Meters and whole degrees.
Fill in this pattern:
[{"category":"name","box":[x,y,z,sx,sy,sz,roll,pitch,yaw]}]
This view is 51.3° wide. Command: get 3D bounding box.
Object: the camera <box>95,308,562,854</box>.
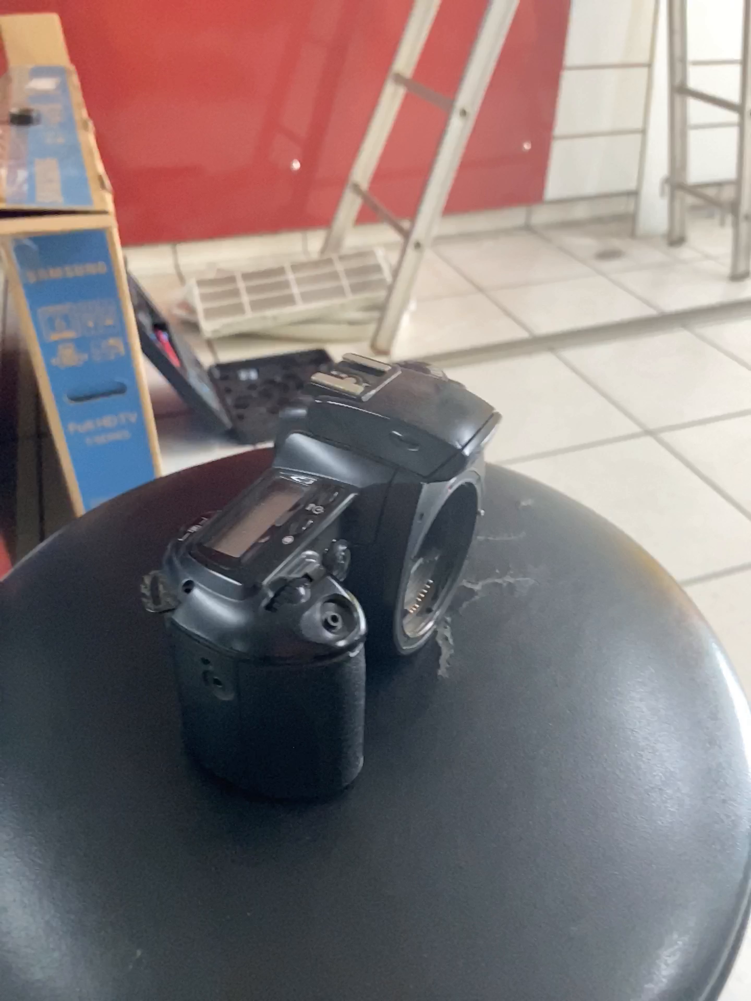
[{"category":"camera","box":[-0.003,0.013,0.248,0.070,0.089,0.141,18,40,22]}]
